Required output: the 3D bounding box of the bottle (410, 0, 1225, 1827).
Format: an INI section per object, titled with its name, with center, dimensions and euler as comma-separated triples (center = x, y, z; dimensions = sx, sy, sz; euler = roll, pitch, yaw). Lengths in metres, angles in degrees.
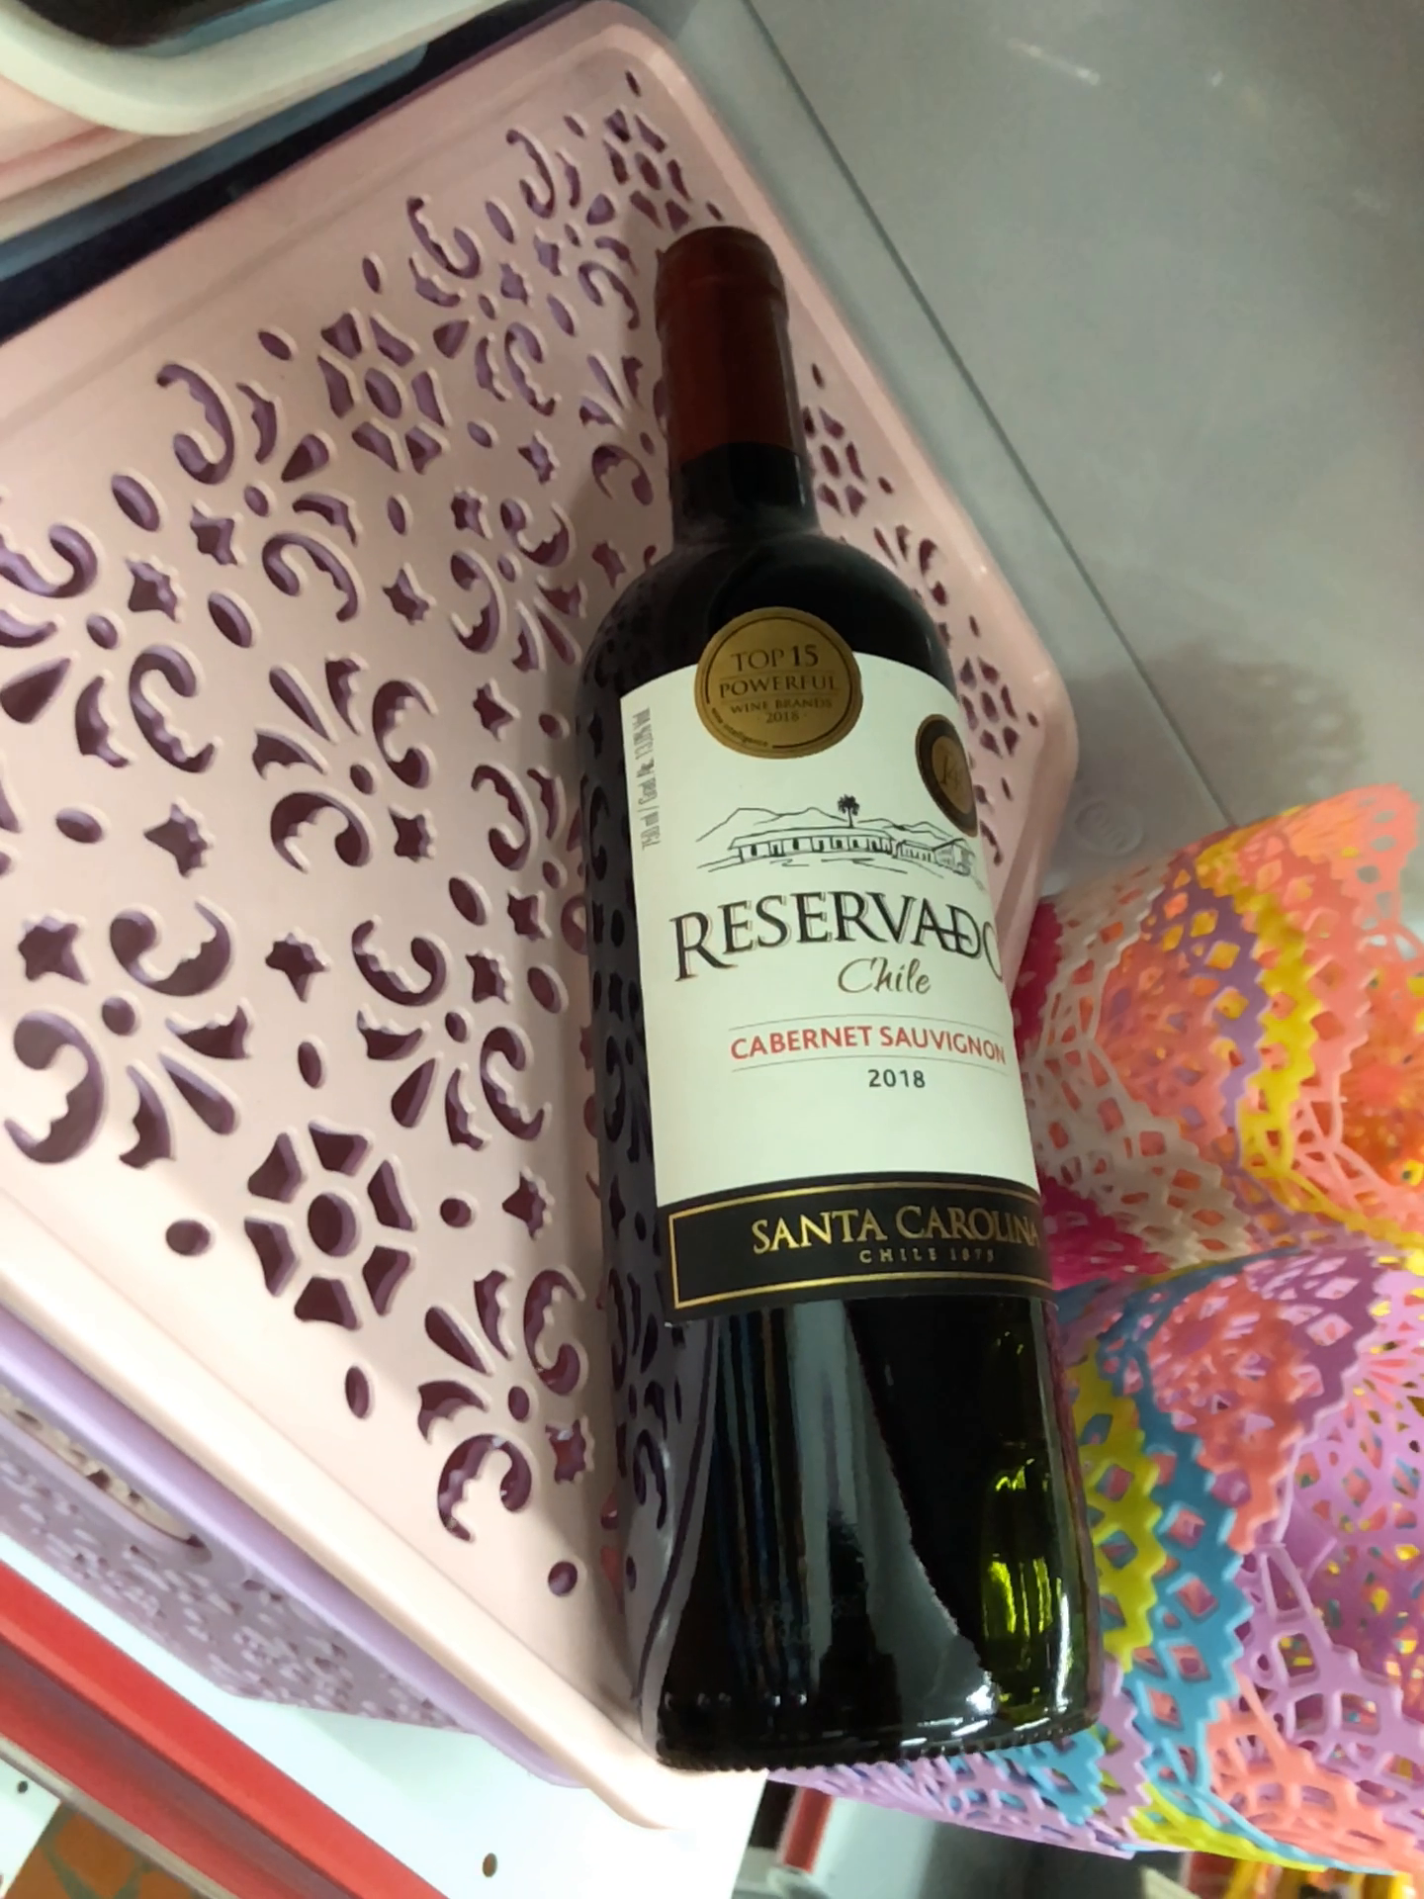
[bottle]
center = 0.004, -0.038, 0.283
dimensions = 0.080, 0.060, 0.330
euler = 18, 55, -44
